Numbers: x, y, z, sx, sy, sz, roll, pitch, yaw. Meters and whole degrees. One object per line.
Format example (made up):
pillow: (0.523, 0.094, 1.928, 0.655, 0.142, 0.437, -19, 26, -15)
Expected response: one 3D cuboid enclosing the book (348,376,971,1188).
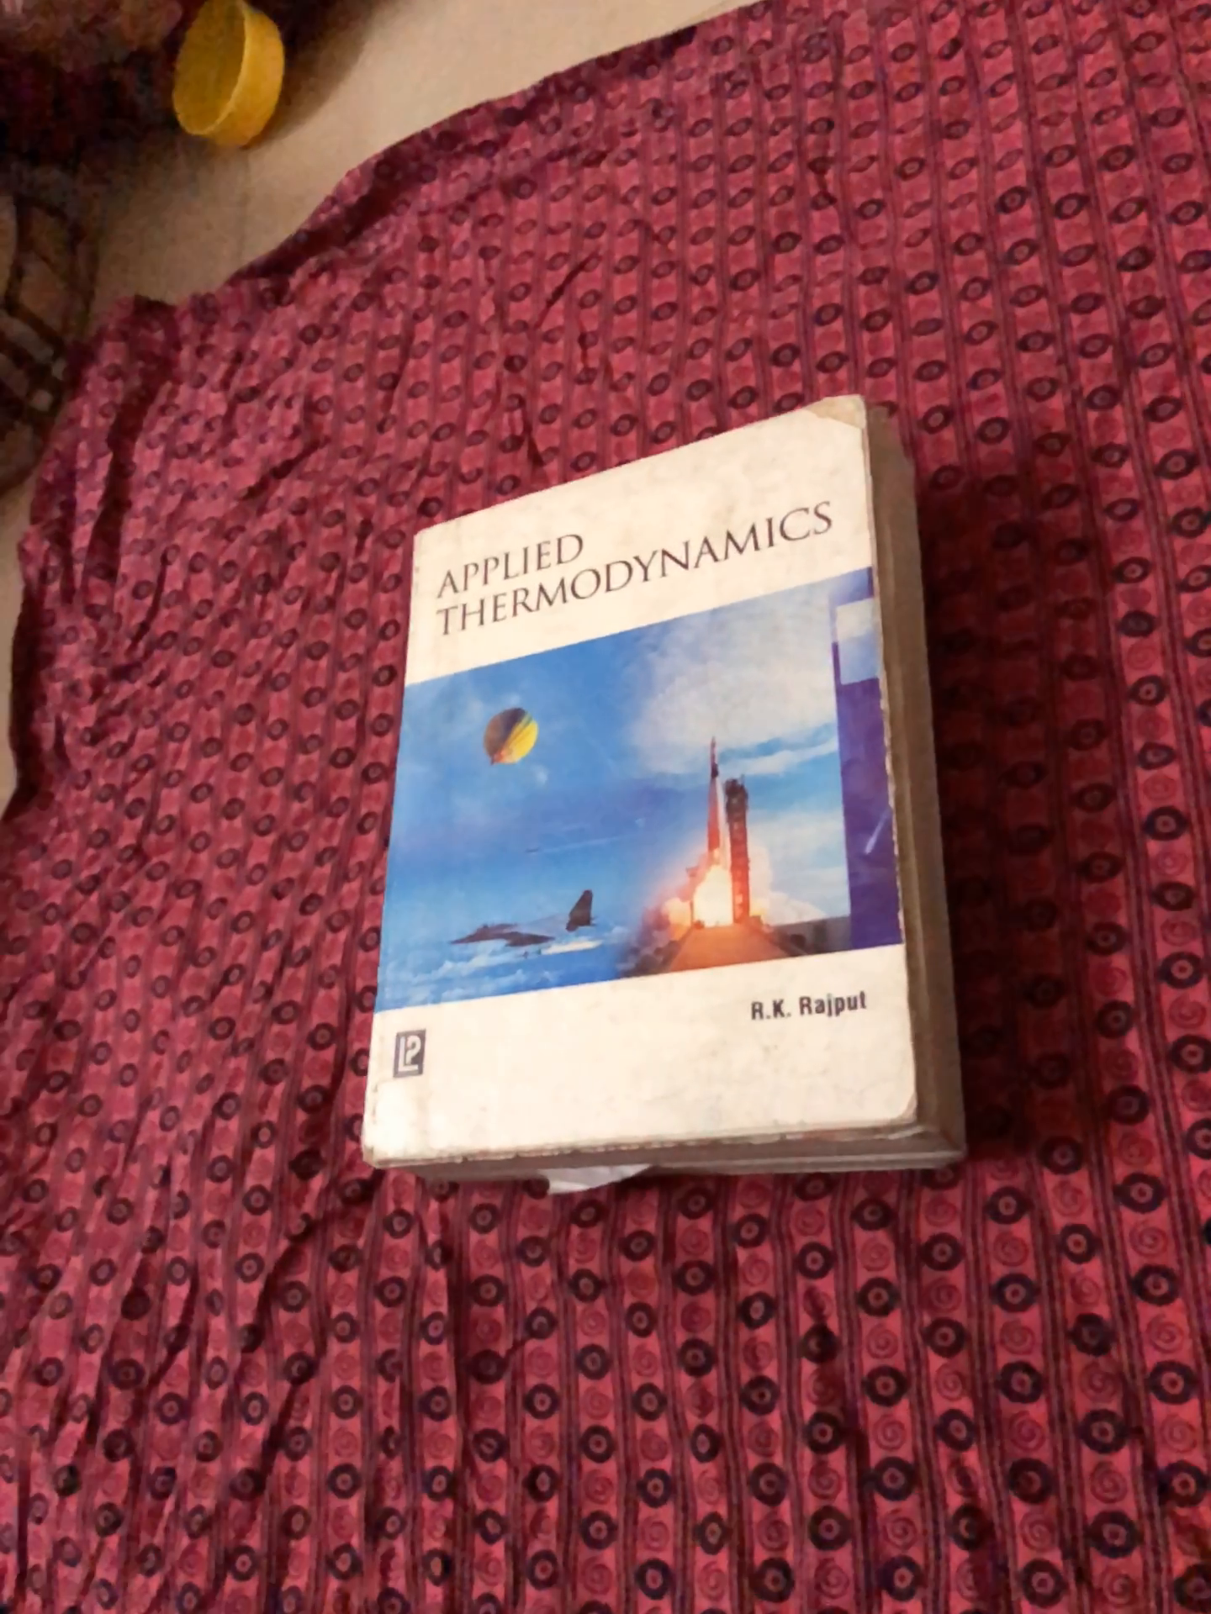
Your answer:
book: (0.016, -0.003, 0.451, 0.179, 0.060, 0.240, -11, 64, 26)
